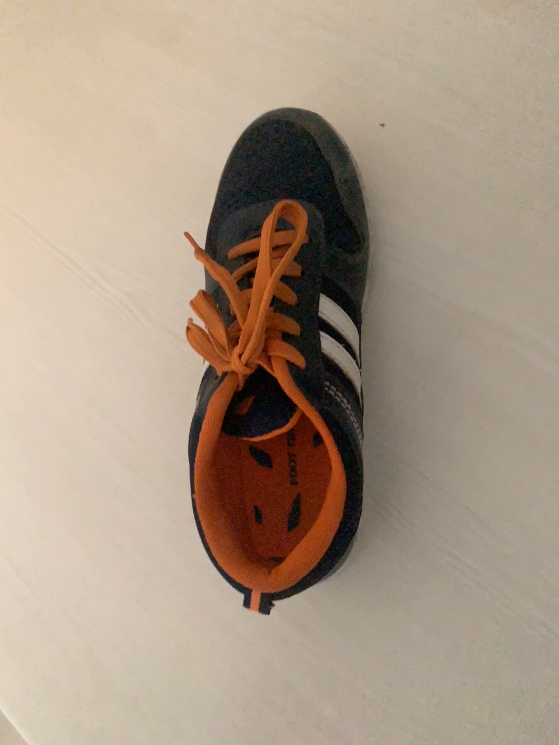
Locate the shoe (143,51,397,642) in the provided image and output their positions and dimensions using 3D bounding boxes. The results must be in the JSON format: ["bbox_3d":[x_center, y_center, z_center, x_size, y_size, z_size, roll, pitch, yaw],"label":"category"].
[{"bbox_3d":[0.001,-0.012,0.293,0.100,0.080,0.250,-2,81,19],"label":"shoe"}]
